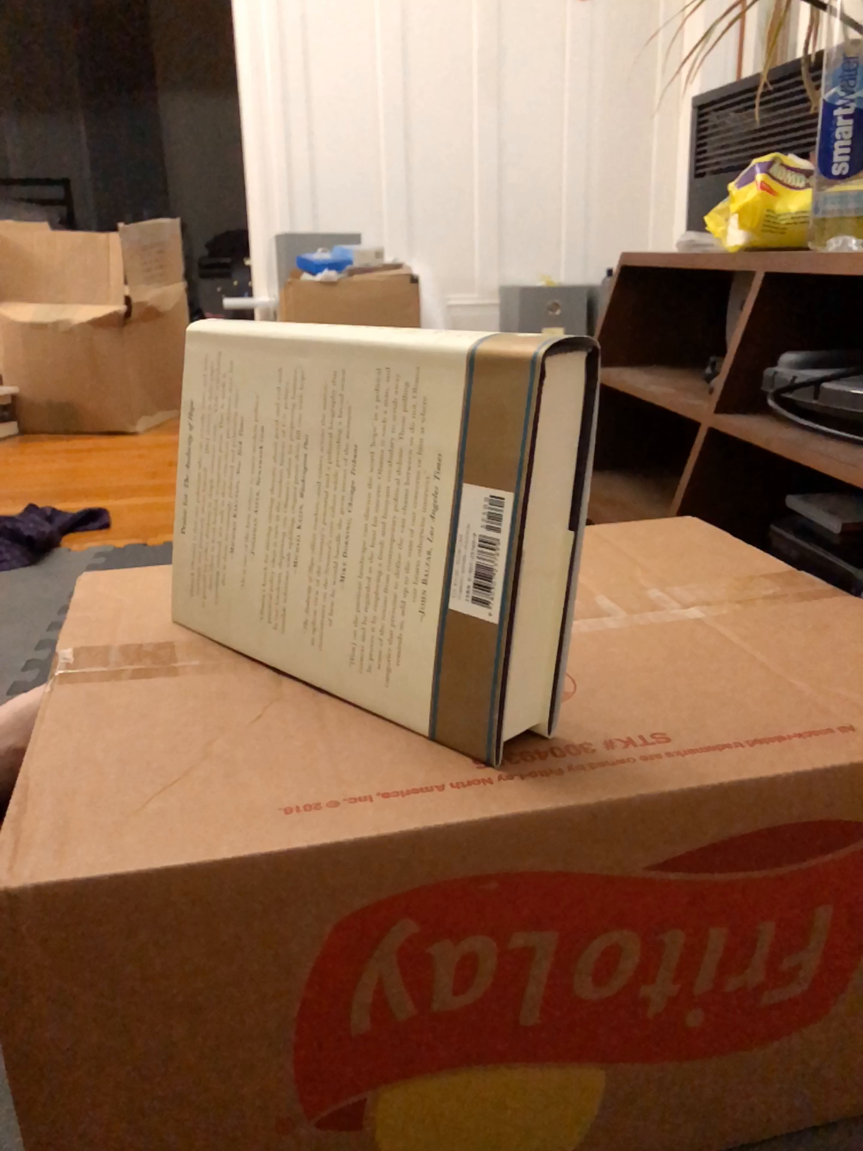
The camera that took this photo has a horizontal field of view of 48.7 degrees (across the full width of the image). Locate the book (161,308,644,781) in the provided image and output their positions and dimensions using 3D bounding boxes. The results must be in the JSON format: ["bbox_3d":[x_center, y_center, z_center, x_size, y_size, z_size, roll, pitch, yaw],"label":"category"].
[{"bbox_3d":[-0.034,-0.033,0.461,0.250,0.170,0.060,18,16,42],"label":"book"}]
